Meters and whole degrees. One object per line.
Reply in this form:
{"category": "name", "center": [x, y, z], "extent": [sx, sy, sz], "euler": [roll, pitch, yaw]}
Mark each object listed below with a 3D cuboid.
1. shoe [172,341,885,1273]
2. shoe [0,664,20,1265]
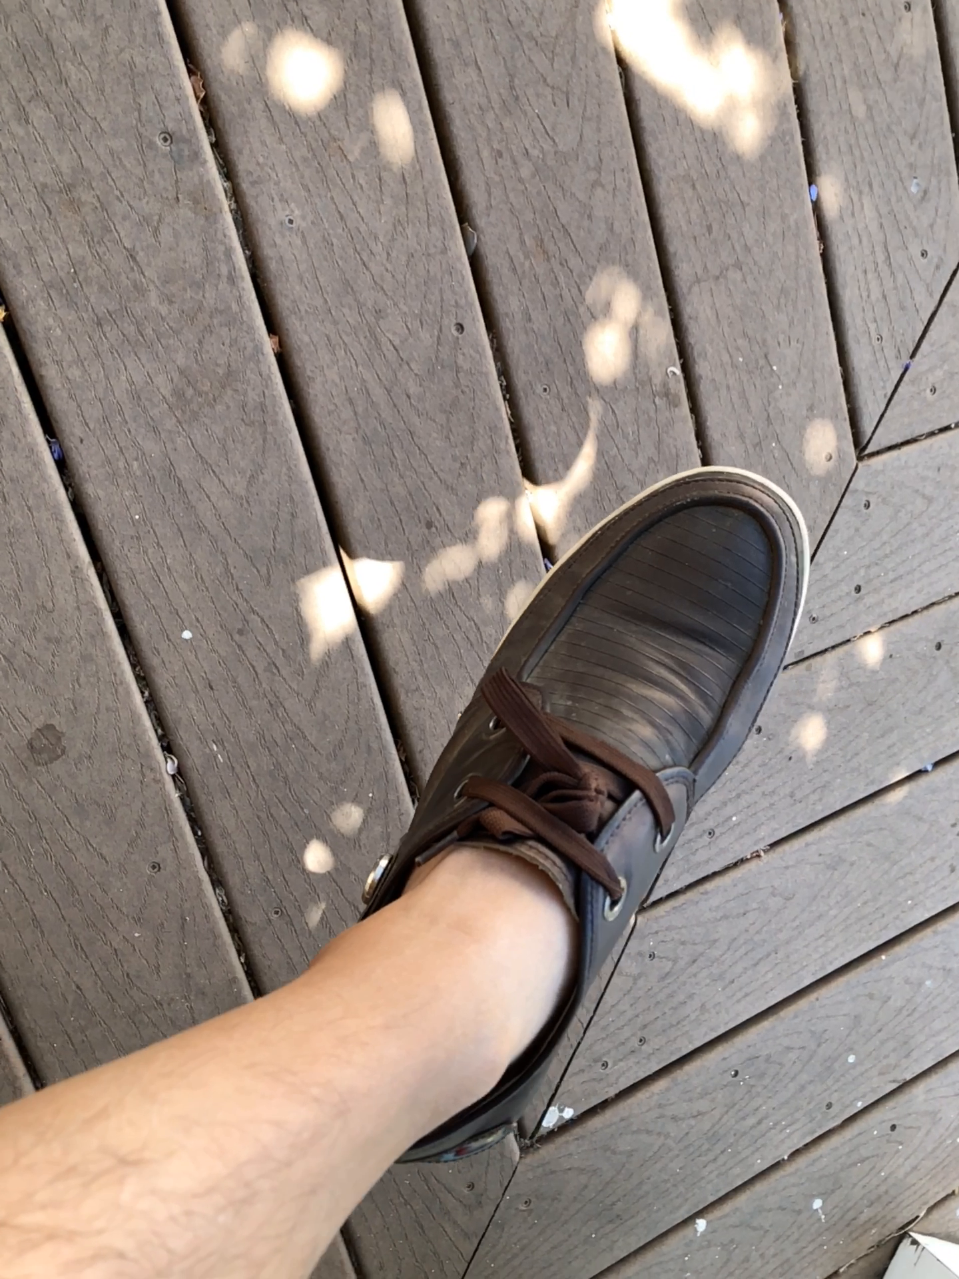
{"category": "shoe", "center": [0.022, 0.048, 0.343], "extent": [0.090, 0.084, 0.255], "euler": [30, 88, 19]}
{"category": "shoe", "center": [-0.344, 0.151, 0.519], "extent": [0.104, 0.099, 0.245], "euler": [34, 86, -25]}
